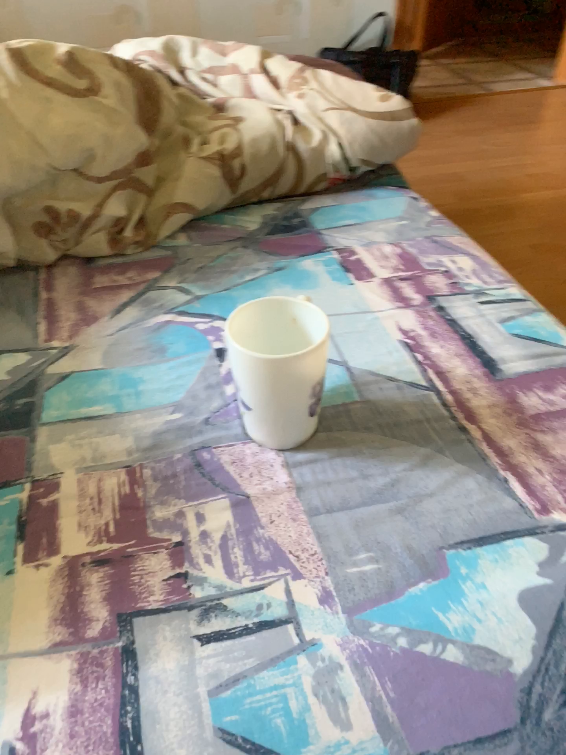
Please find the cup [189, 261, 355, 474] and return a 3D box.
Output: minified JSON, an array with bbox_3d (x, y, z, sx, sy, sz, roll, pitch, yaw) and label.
[{"bbox_3d":[-0.005,-0.011,0.458,0.080,0.099,0.121,17,44,16],"label":"cup"}]
